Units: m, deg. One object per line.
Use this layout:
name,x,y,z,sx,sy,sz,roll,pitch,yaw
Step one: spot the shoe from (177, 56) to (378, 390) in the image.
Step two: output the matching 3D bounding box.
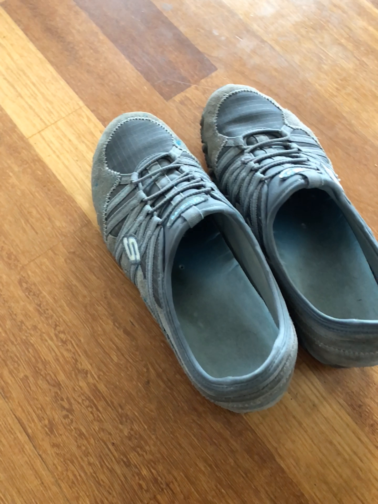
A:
shoe,0.082,-0.022,0.359,0.093,0.106,0.250,-21,73,-10

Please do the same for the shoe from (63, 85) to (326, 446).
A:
shoe,-0.008,0.007,0.348,0.096,0.106,0.253,-21,73,-10
